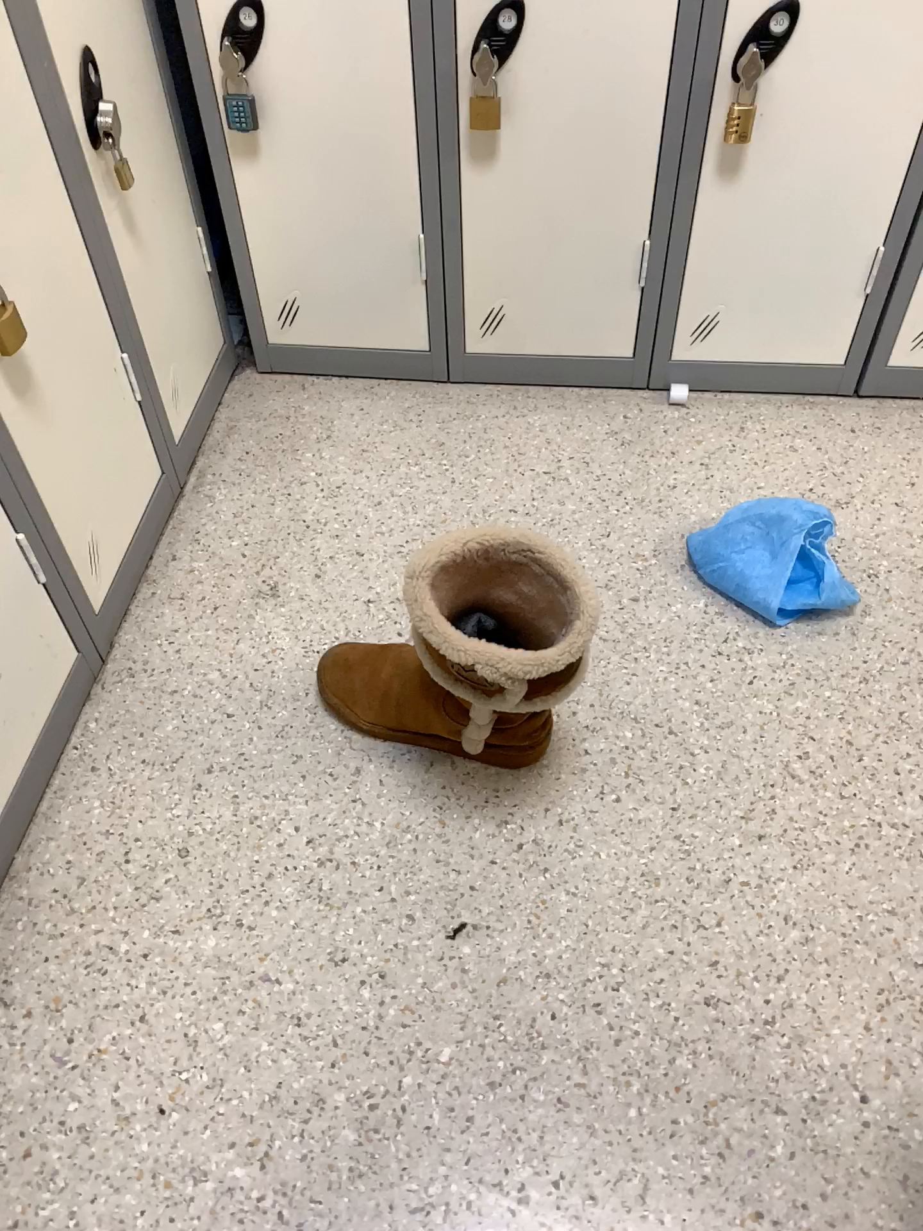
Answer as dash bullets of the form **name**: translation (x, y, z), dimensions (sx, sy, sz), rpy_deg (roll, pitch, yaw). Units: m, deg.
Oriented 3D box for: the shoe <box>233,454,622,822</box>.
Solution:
- **shoe**: translation (-0.026, 0.022, 0.922), dimensions (0.306, 0.243, 0.159), rpy_deg (18, 52, 17)
